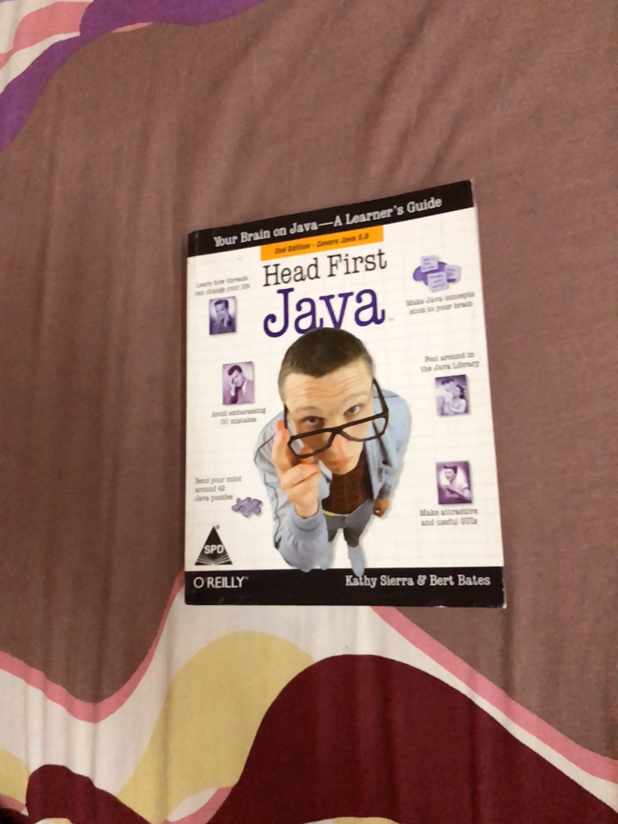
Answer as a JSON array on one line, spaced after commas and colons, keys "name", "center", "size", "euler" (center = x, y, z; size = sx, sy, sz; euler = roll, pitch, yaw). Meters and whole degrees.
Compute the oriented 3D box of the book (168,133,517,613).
[{"name": "book", "center": [0.015, -0.017, 0.413], "size": [0.190, 0.050, 0.260], "euler": [-5, 78, 19]}]
